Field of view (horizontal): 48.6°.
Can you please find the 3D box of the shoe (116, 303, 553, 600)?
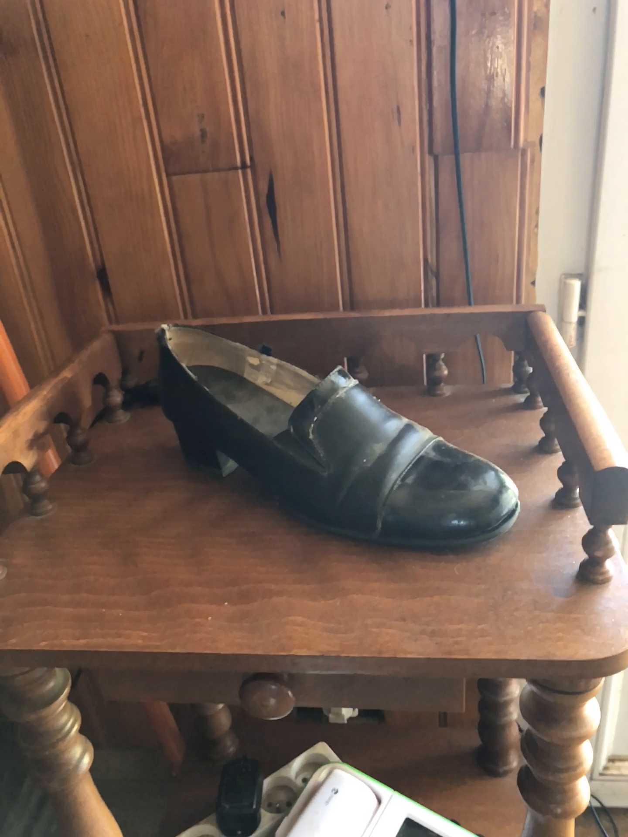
[{"bbox_3d":[0.002,0.001,0.441,0.260,0.090,0.101,17,35,37],"label":"shoe"}]
